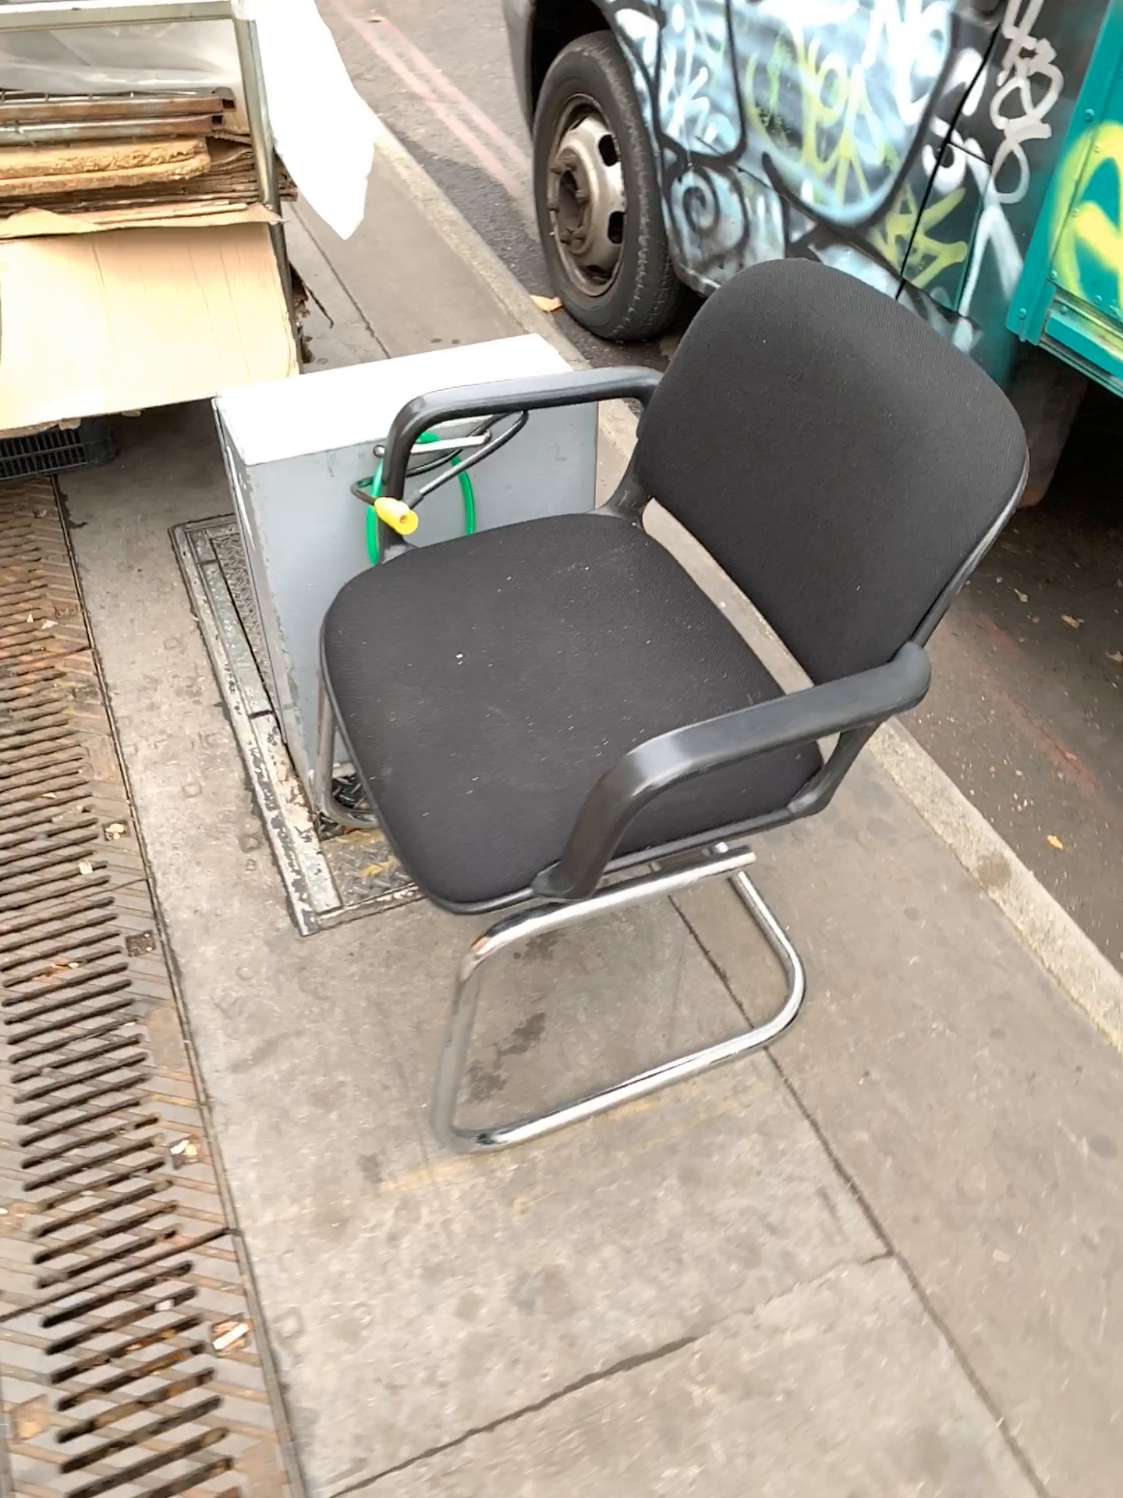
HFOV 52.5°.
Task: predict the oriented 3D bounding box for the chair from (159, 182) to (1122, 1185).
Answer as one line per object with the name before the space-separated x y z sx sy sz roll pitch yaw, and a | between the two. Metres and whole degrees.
chair | 0.009 -0.065 1.199 0.601 0.753 0.564 -16 50 -18
